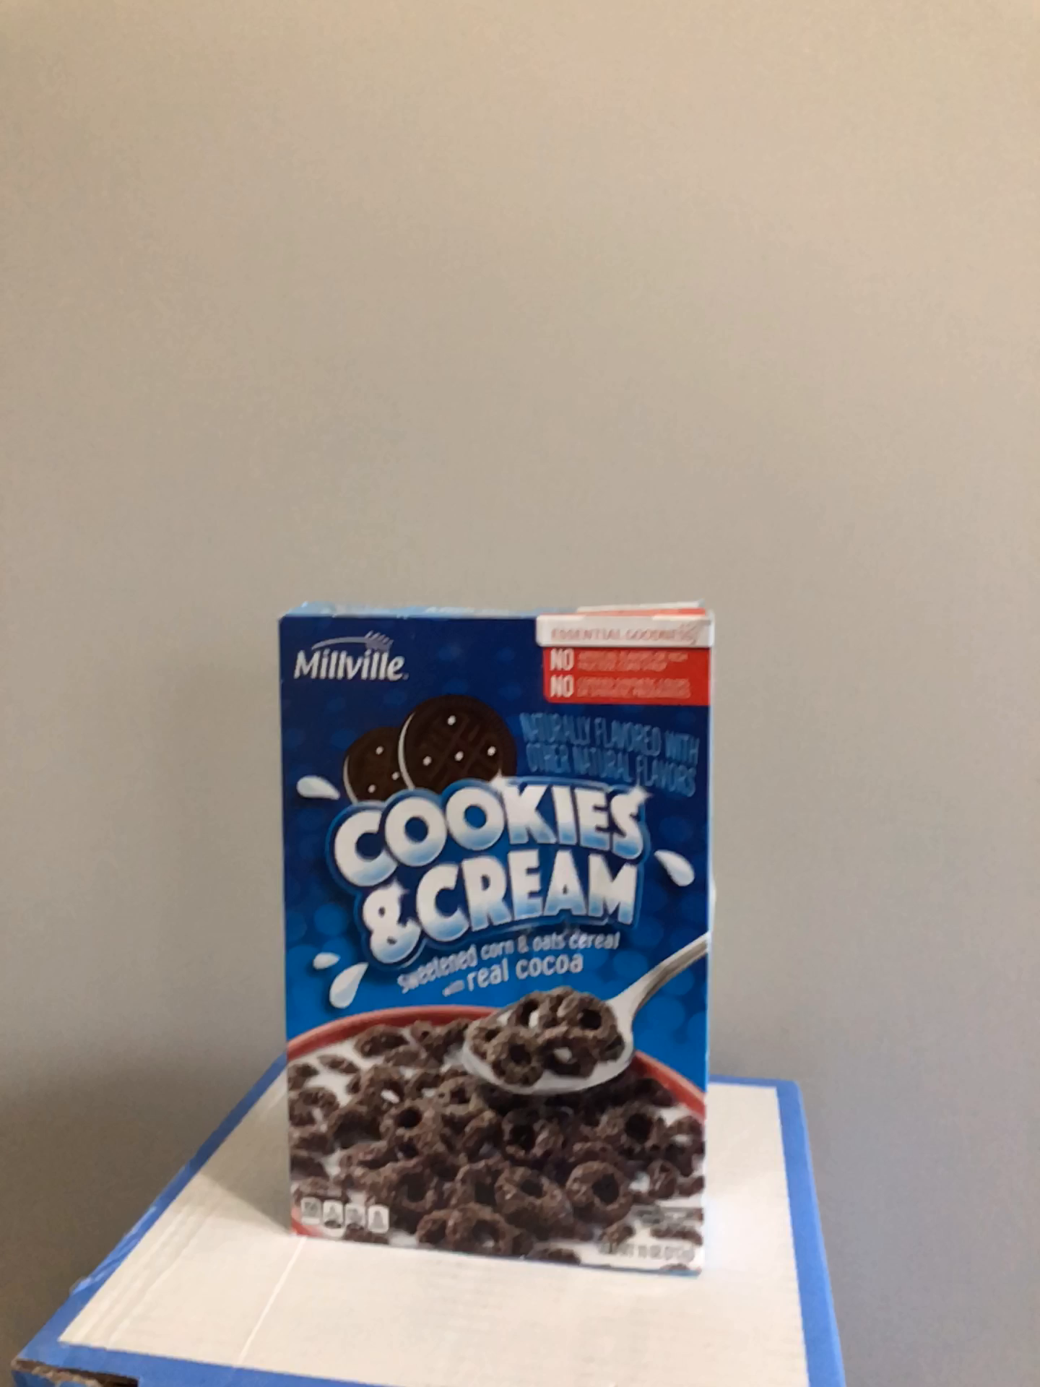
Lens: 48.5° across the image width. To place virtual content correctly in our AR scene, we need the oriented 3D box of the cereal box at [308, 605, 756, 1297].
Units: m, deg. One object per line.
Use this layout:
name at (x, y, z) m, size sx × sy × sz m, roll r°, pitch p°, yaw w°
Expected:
cereal box at (0.007, 0.114, 0.558) m, size 0.200 × 0.310 × 0.070 m, roll 1°, pitch 5°, yaw 9°
